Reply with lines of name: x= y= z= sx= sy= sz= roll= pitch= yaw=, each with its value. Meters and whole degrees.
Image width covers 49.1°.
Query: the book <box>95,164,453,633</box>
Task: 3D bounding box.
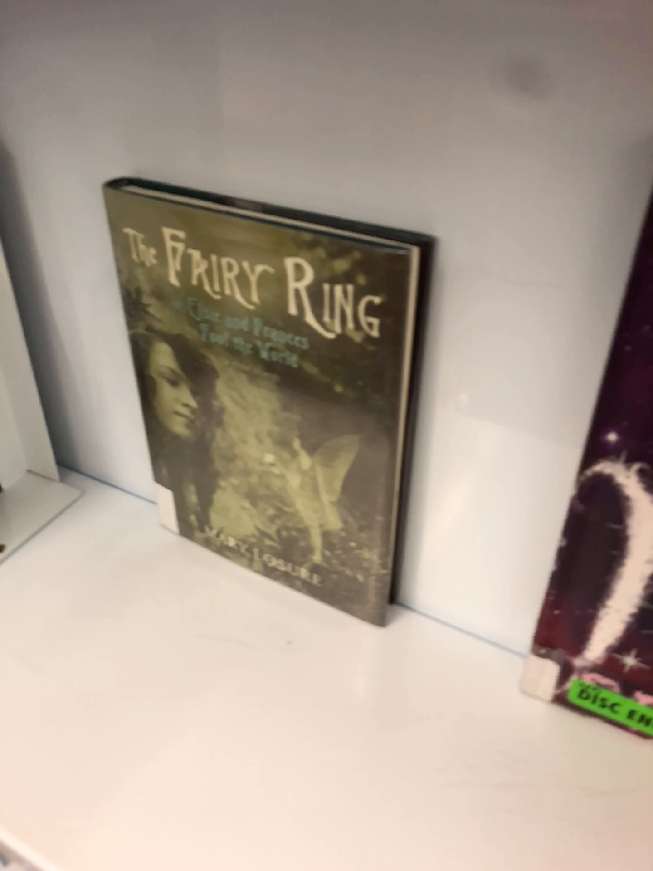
book: x=-0.029 y=-0.014 z=0.332 sx=0.150 sy=0.190 sz=0.028 roll=19 pitch=36 yaw=24
